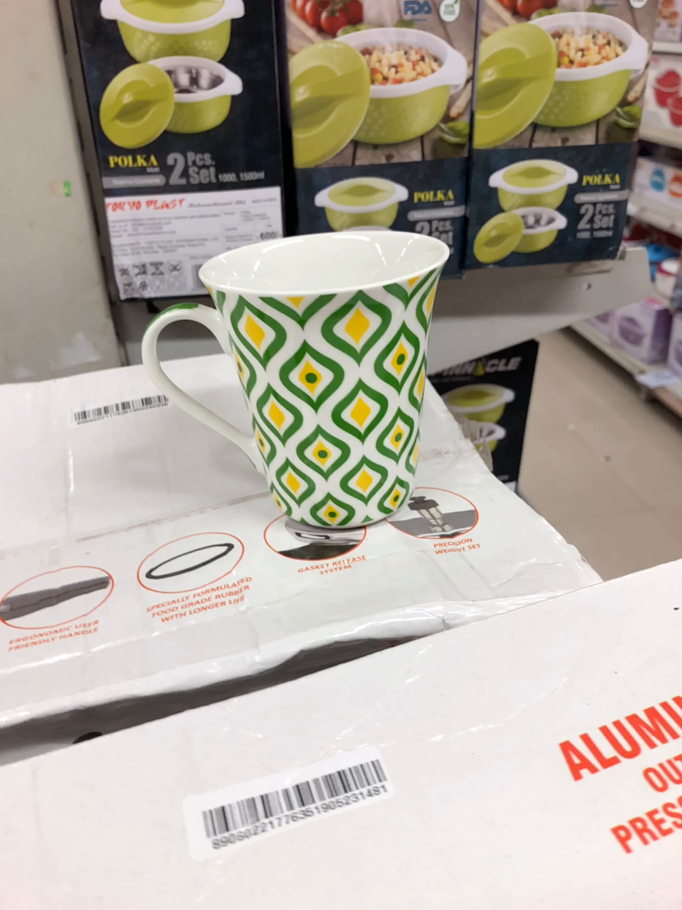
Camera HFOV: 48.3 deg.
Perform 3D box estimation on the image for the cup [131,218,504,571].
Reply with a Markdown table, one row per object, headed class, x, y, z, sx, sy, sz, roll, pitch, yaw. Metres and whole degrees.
| class | x | y | z | sx | sy | sz | roll | pitch | yaw |
| --- | --- | --- | --- | --- | --- | --- | --- | --- | --- |
| cup | -0.012 | -0.030 | 0.281 | 0.110 | 0.089 | 0.090 | -9 | 26 | -13 |
